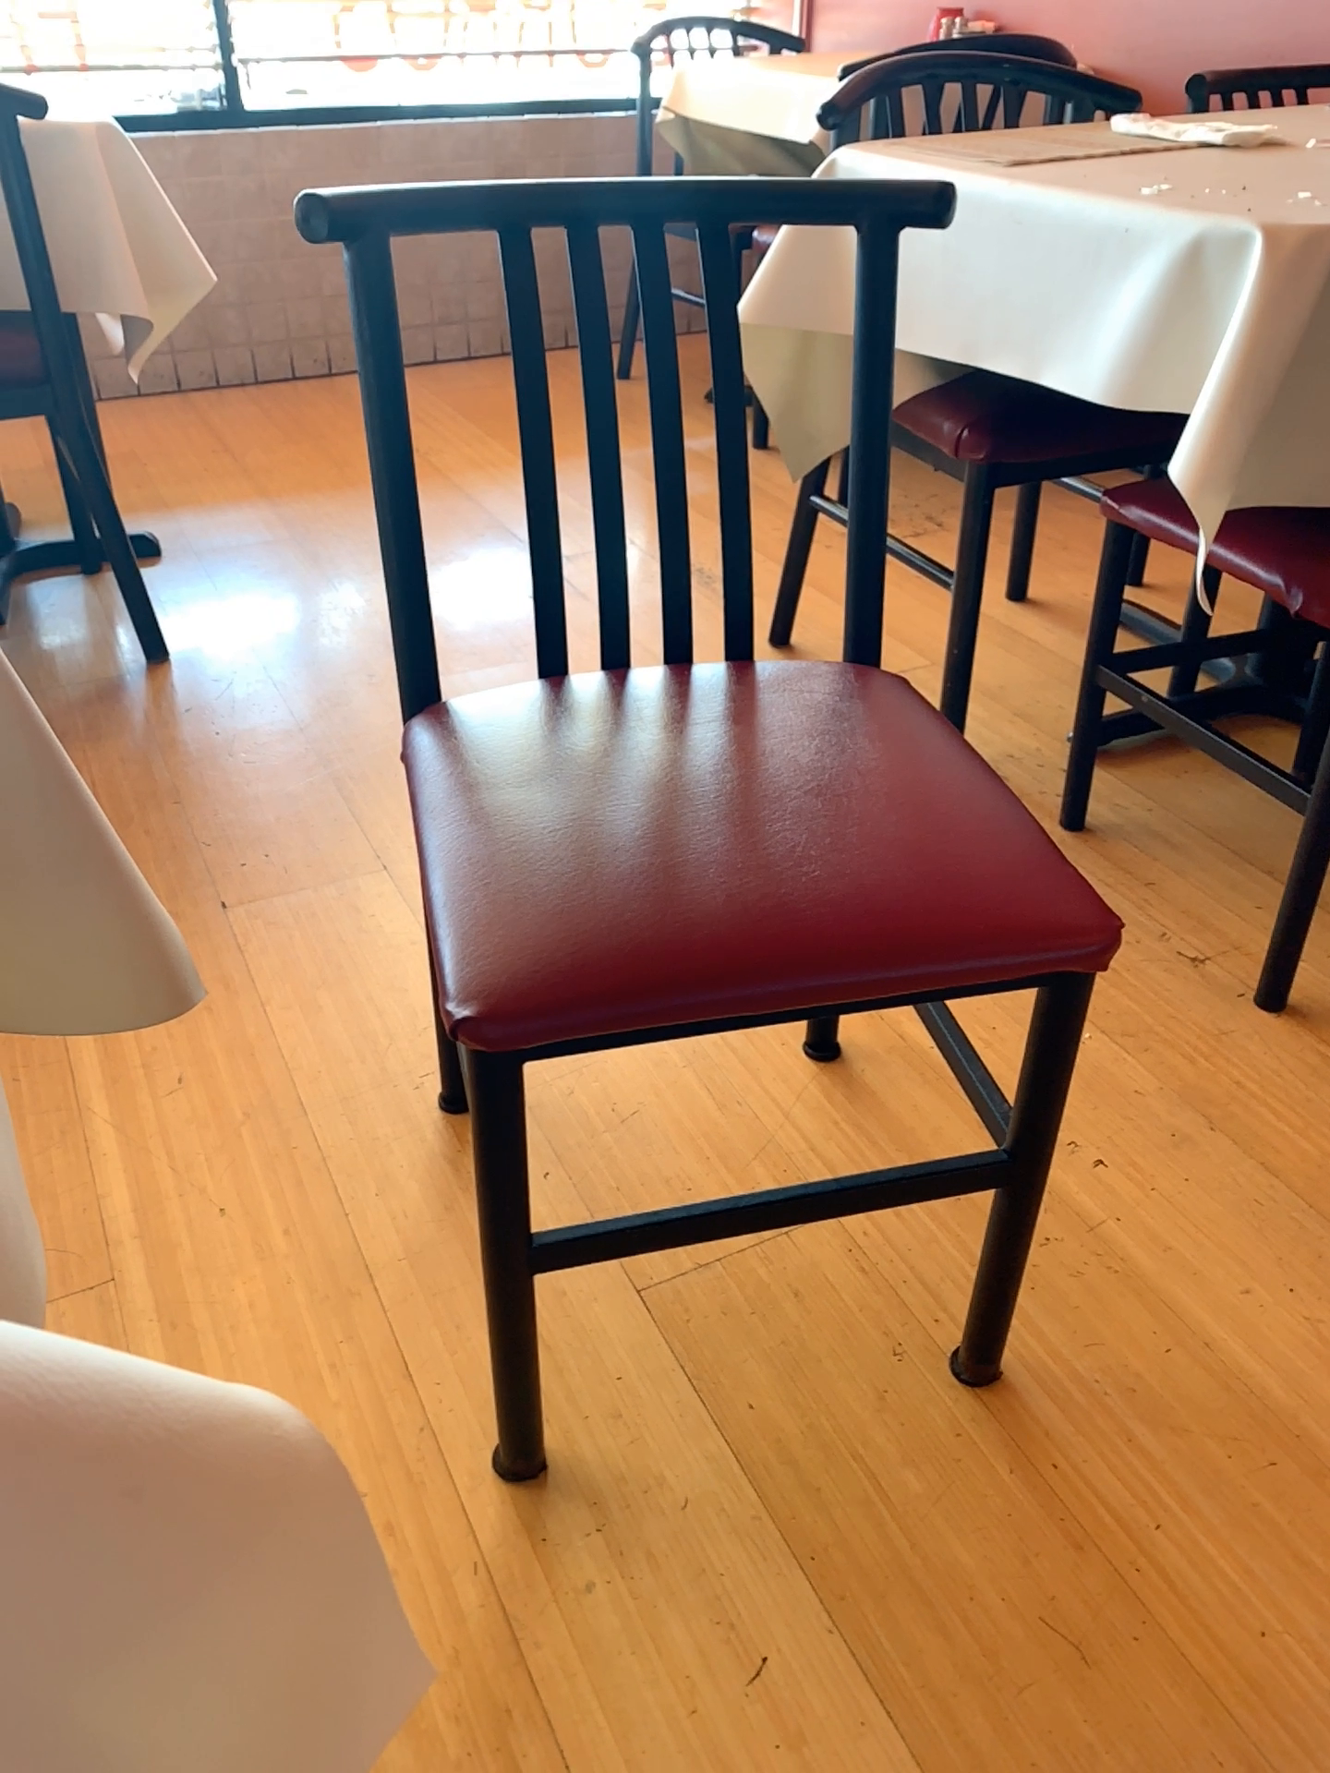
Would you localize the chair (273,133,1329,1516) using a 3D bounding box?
[{"bbox_3d":[0.020,-0.084,0.955,0.480,0.726,0.573,-6,34,-14],"label":"chair"}]
